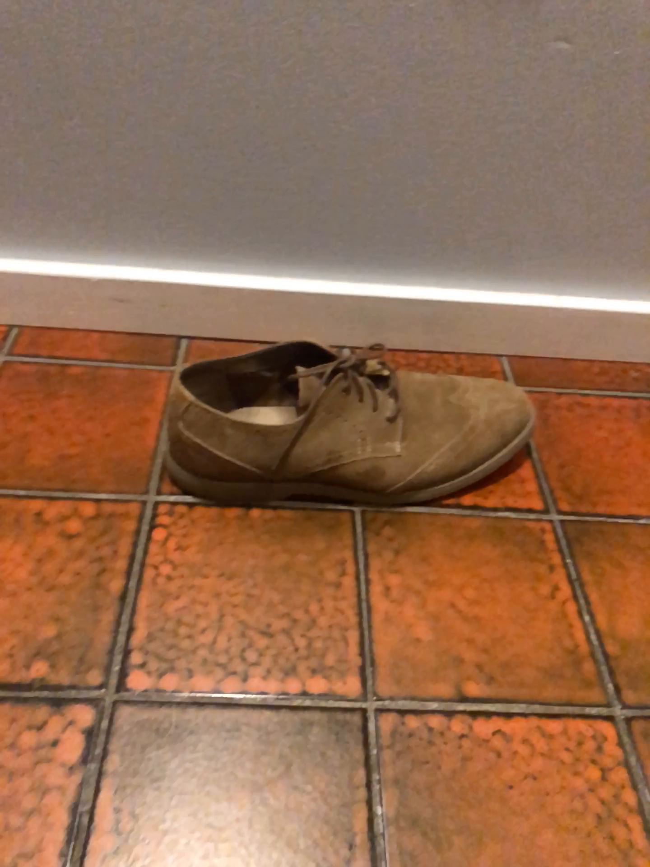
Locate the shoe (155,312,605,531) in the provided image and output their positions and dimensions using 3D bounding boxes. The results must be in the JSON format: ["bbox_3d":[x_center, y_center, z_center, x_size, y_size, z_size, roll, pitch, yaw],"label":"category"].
[{"bbox_3d":[0.030,-0.014,0.542,0.300,0.100,0.120,-2,44,-10],"label":"shoe"}]
